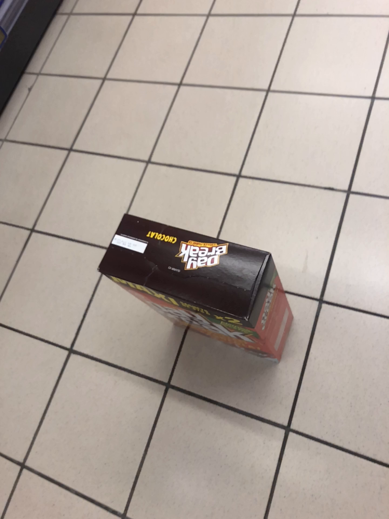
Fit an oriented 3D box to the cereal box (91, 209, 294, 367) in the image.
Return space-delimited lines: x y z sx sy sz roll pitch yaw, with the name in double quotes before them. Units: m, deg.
"cereal box" 0.020 0.054 0.612 0.200 0.279 0.090 16 74 22
